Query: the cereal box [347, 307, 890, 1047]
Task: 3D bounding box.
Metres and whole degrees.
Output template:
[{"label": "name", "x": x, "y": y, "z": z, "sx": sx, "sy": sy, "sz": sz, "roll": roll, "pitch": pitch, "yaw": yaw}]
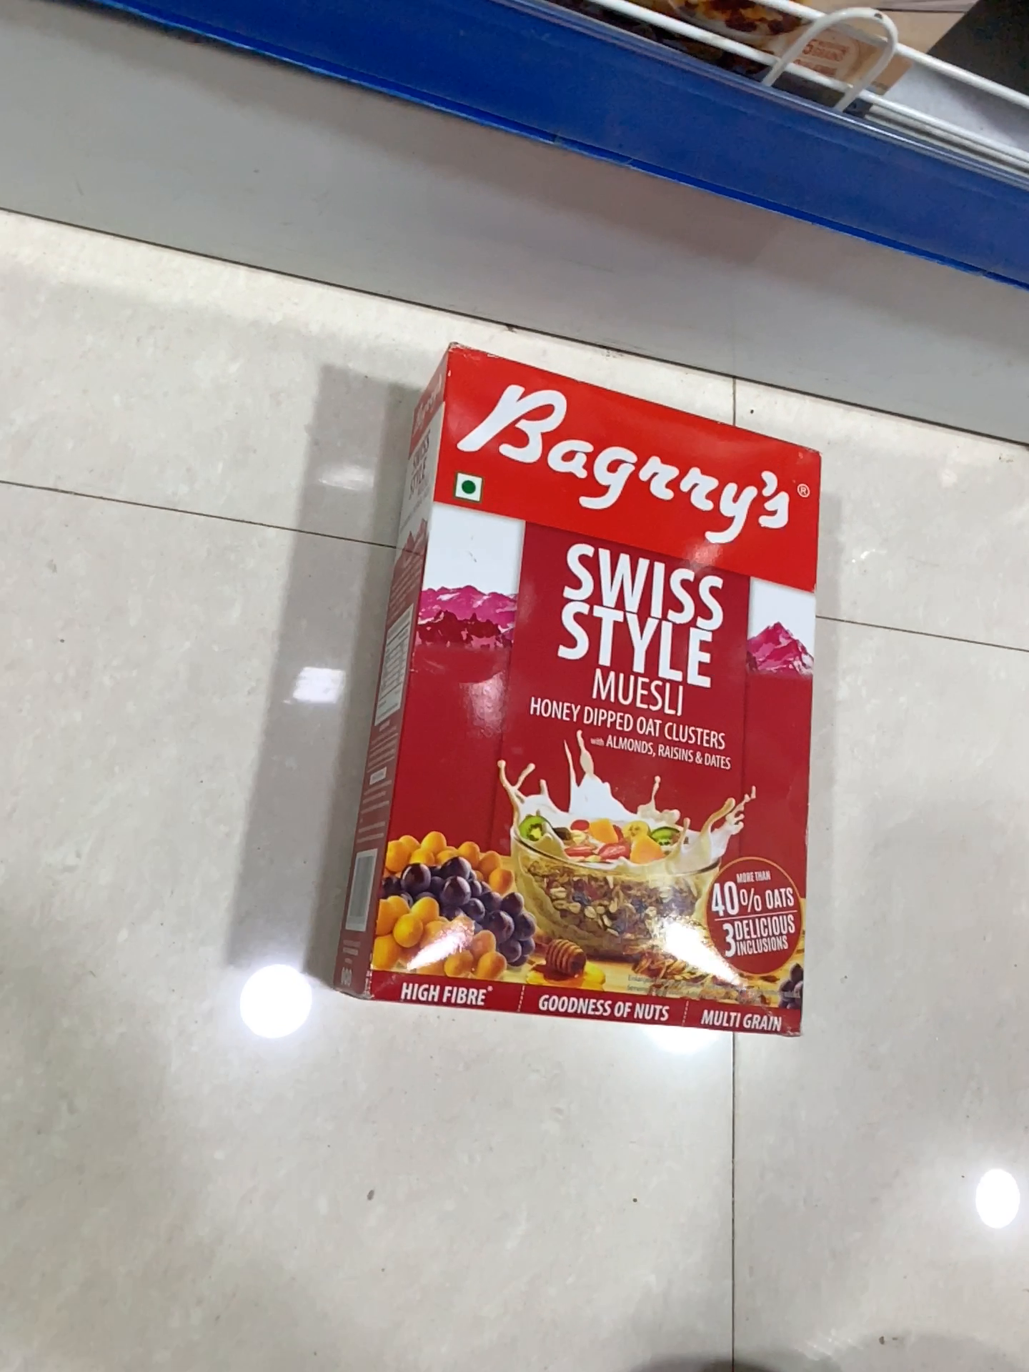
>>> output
[{"label": "cereal box", "x": 0.050, "y": 0.004, "z": 0.445, "sx": 0.190, "sy": 0.080, "sz": 0.260, "roll": 11, "pitch": 76, "yaw": -19}]
